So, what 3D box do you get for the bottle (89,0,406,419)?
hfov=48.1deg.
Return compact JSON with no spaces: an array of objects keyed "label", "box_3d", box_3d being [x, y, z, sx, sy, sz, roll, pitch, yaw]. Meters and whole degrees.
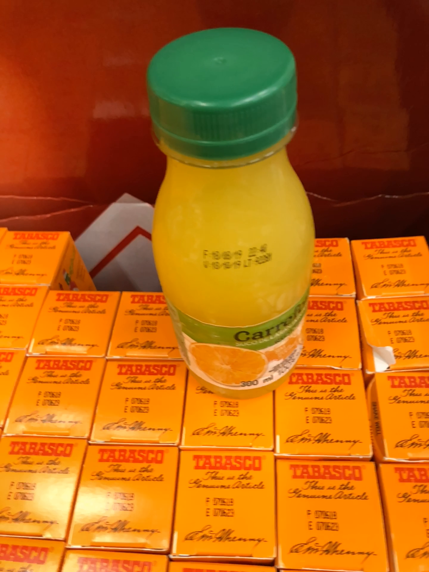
[{"label":"bottle","box_3d":[0.013,-0.016,0.178,0.060,0.149,0.050,-31,56,-17]}]
